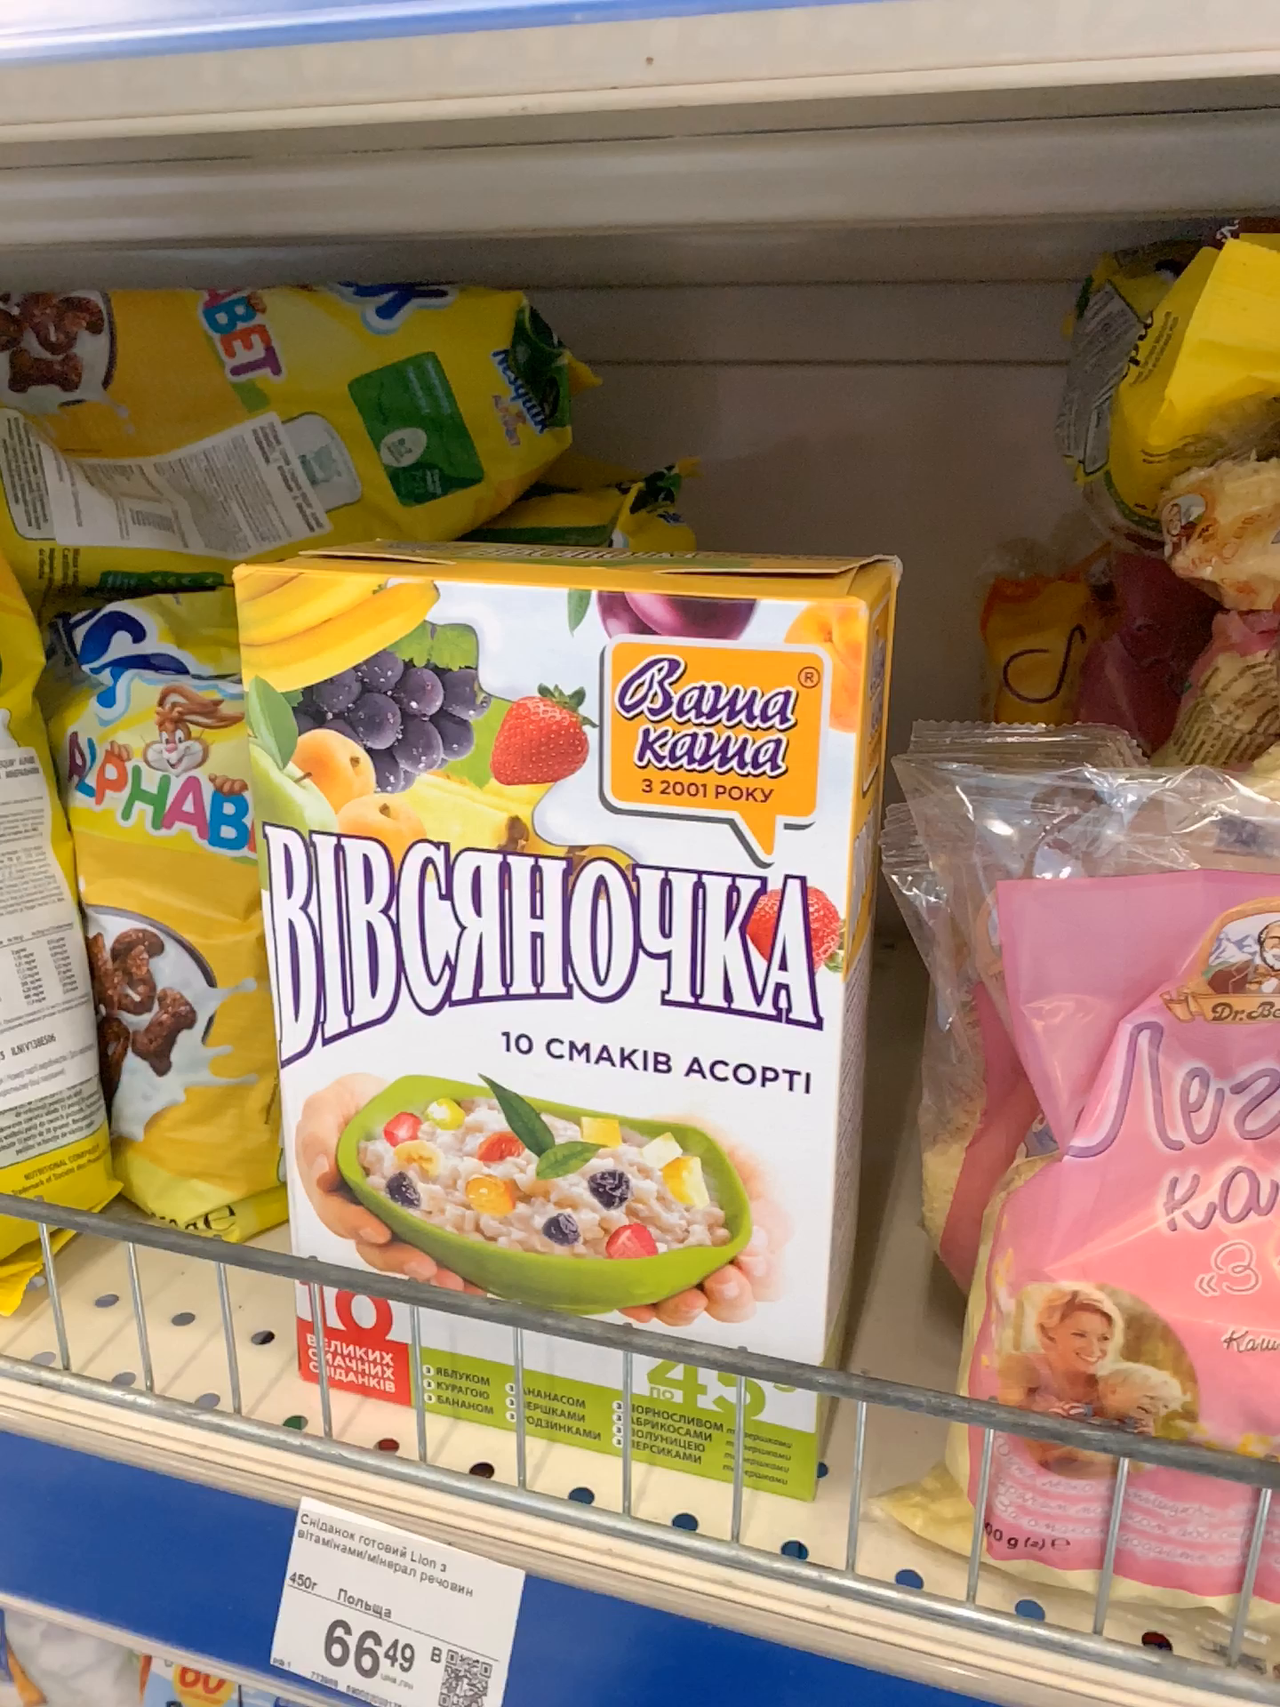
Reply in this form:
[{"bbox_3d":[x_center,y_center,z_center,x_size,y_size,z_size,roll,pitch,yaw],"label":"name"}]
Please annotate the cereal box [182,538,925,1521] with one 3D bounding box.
[{"bbox_3d":[-0.017,0.035,0.327,0.150,0.209,0.070,6,18,17],"label":"cereal box"}]
